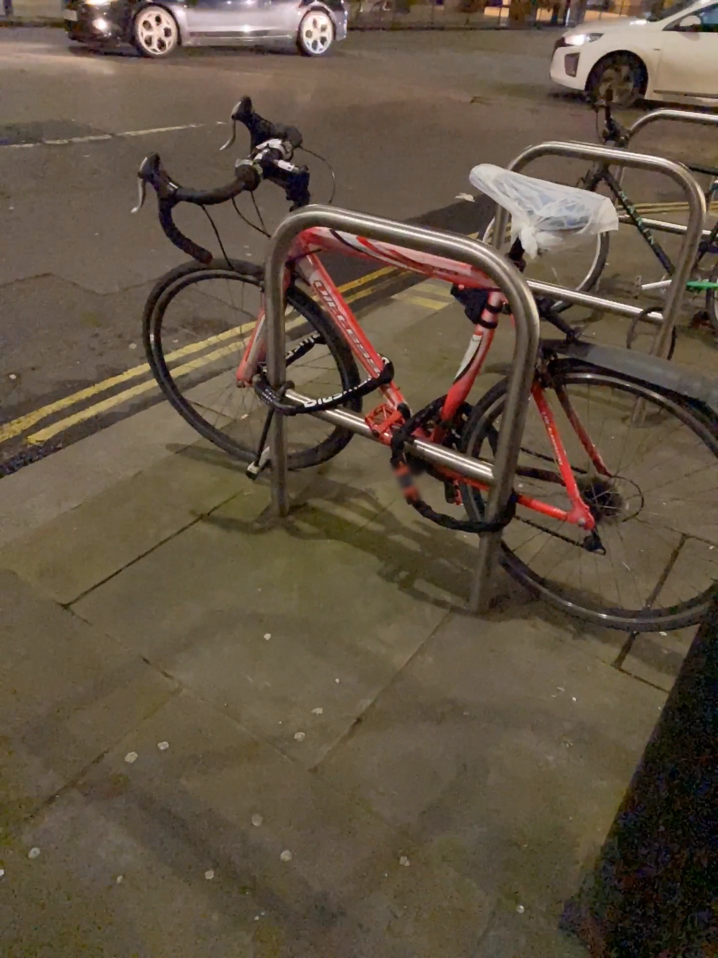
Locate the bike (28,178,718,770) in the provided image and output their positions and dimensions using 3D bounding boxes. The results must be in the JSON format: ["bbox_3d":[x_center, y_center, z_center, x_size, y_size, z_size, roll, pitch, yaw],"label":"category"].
[{"bbox_3d":[0.049,-0.142,1.776,1.662,0.809,0.539,21,39,26],"label":"bike"}]
